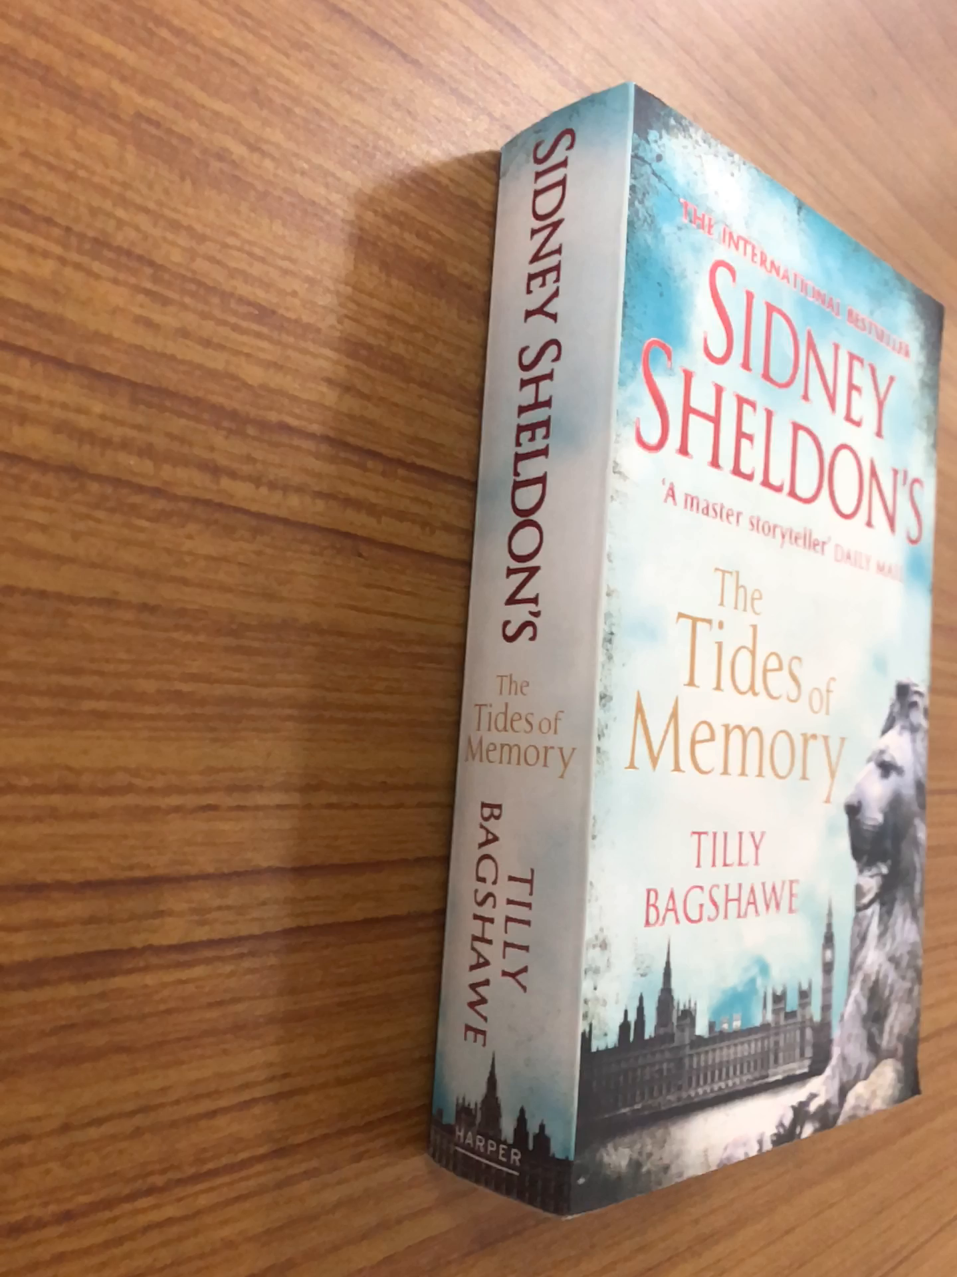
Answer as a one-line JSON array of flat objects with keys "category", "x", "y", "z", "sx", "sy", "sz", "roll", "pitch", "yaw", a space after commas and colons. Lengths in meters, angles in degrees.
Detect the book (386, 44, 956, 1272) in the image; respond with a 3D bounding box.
[{"category": "book", "x": 0.049, "y": 0.006, "z": 0.202, "sx": 0.122, "sy": 0.037, "sz": 0.168, "roll": 9, "pitch": 83, "yaw": -42}]
